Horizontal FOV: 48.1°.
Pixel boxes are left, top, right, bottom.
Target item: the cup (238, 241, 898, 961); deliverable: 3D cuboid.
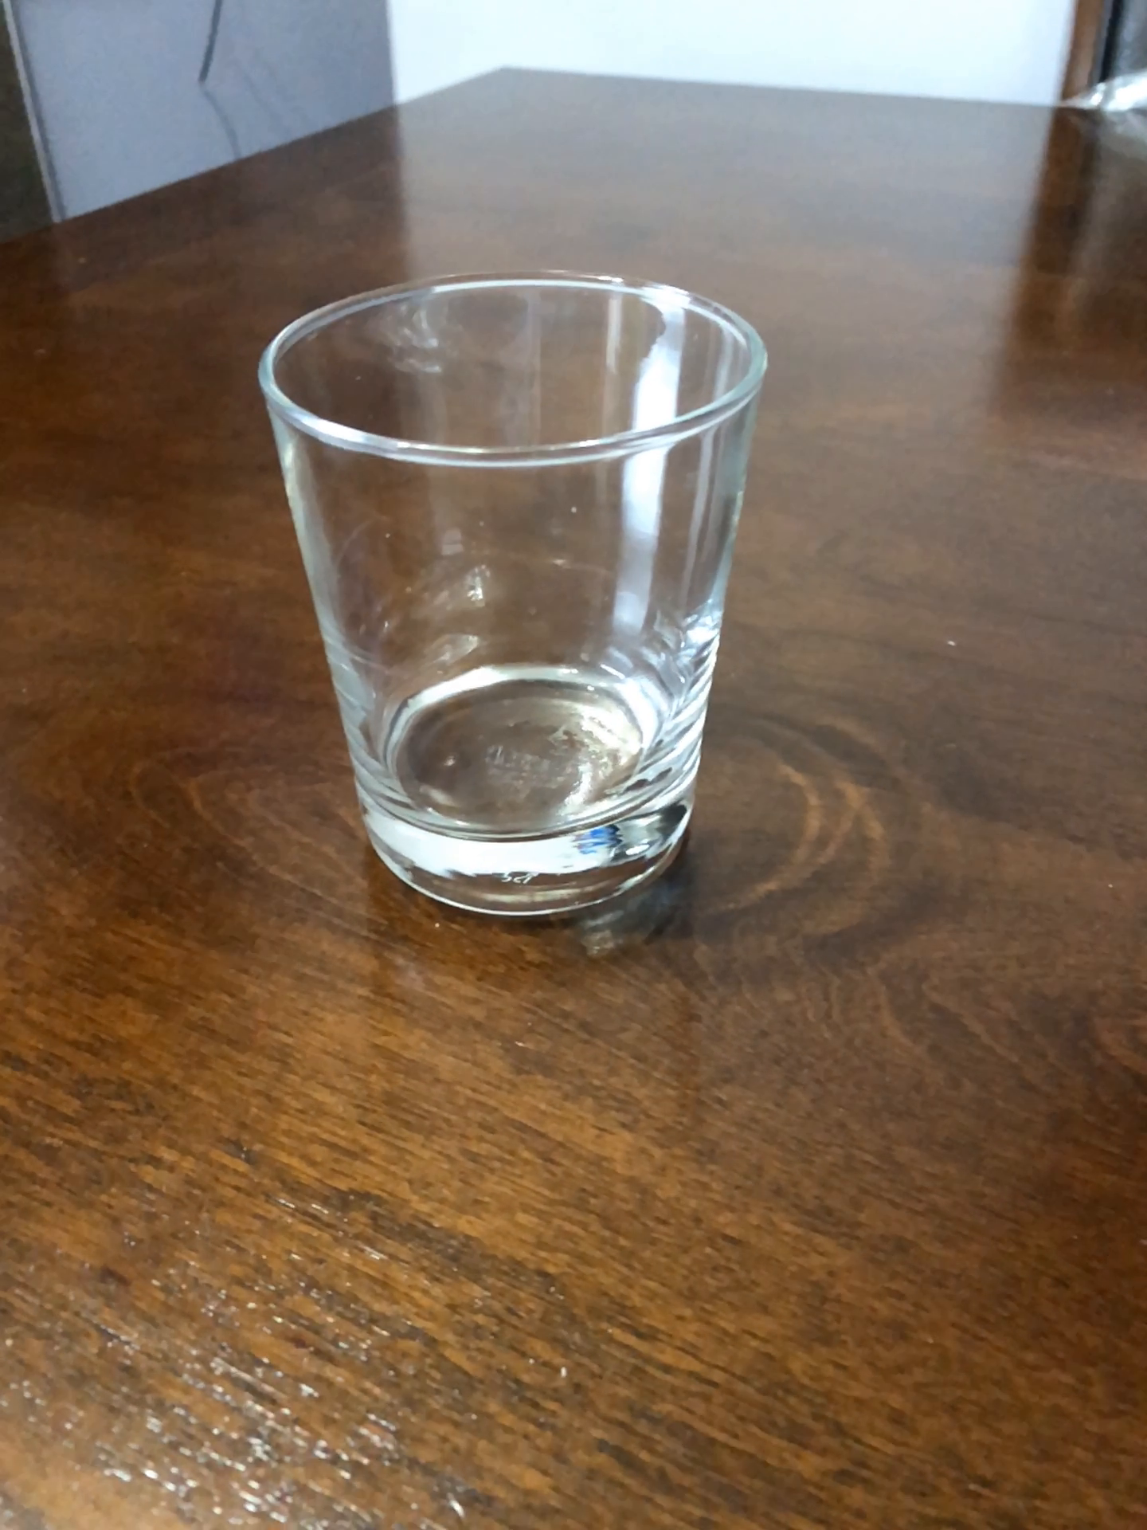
[{"bbox_3d":[-0.008,-0.035,0.238,0.090,0.090,0.090,0,37,0],"label":"cup"}]
